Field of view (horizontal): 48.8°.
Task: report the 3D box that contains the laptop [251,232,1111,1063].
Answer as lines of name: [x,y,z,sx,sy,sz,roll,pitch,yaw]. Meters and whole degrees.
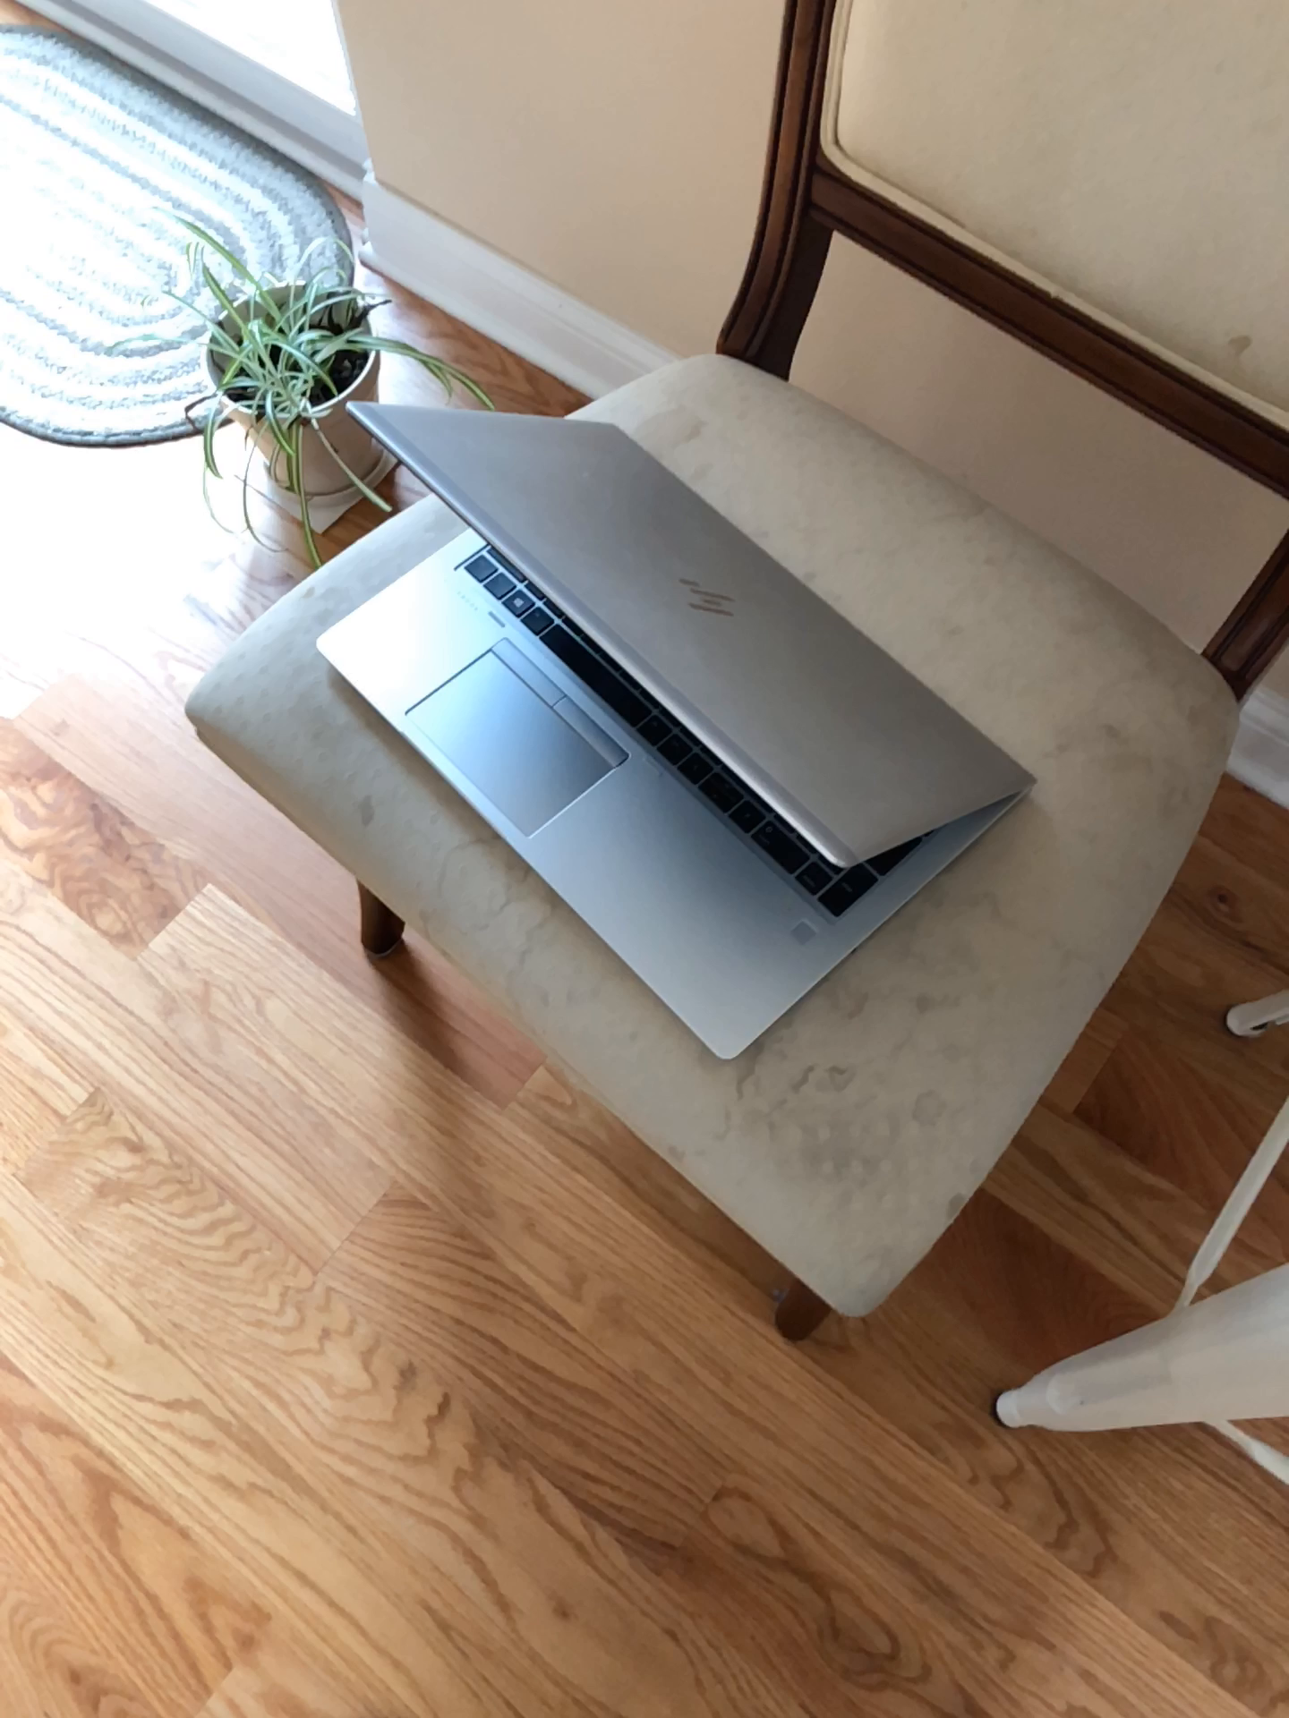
laptop: [0.011,-0.122,0.777,0.244,0.159,0.366,-40,70,-16]
